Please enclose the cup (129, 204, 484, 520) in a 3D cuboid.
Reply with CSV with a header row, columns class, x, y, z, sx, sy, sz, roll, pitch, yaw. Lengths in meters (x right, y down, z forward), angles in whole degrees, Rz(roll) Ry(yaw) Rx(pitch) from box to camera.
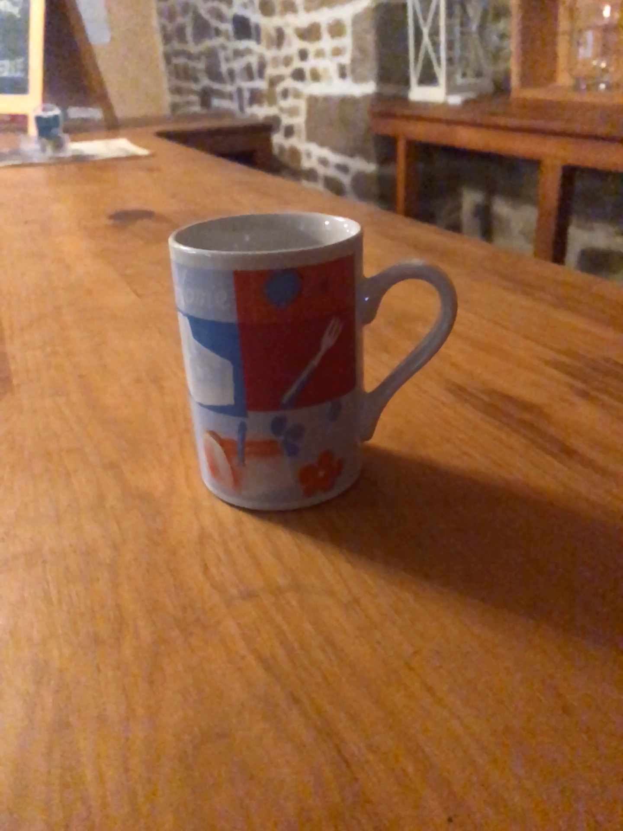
class,x,y,z,sx,sy,sz,roll,pitch,yaw
cup,0.003,-0.024,0.274,0.112,0.099,0.080,0,27,6
